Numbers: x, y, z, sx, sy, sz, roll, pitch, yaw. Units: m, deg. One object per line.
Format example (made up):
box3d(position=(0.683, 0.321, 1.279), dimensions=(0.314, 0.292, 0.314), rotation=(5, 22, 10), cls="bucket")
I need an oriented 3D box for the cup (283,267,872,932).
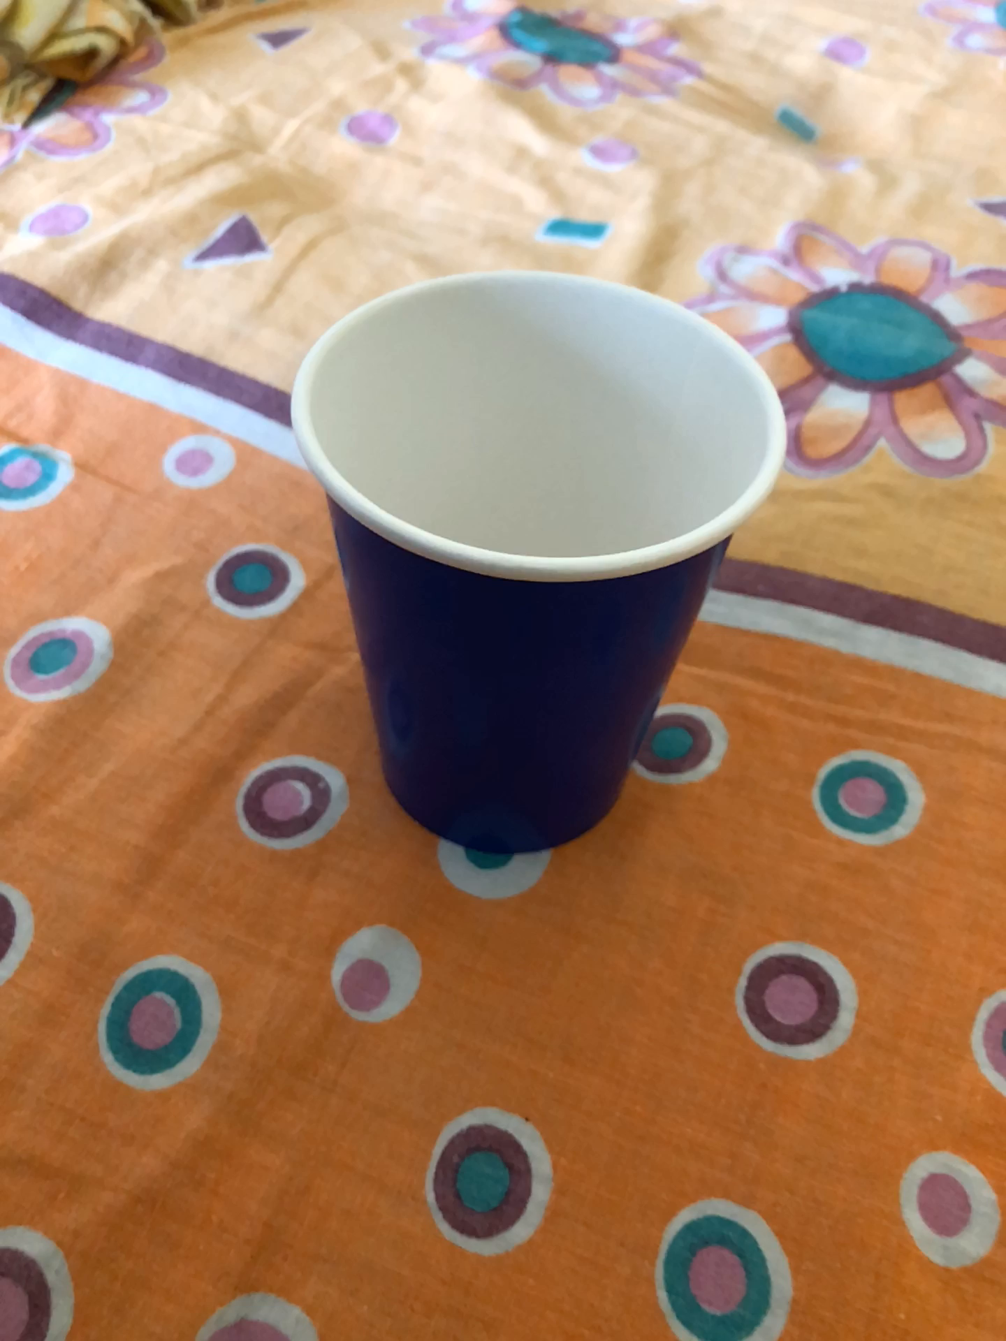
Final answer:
box3d(position=(0.004, -0.014, 0.214), dimensions=(0.080, 0.090, 0.080), rotation=(2, 45, -2), cls="cup")
